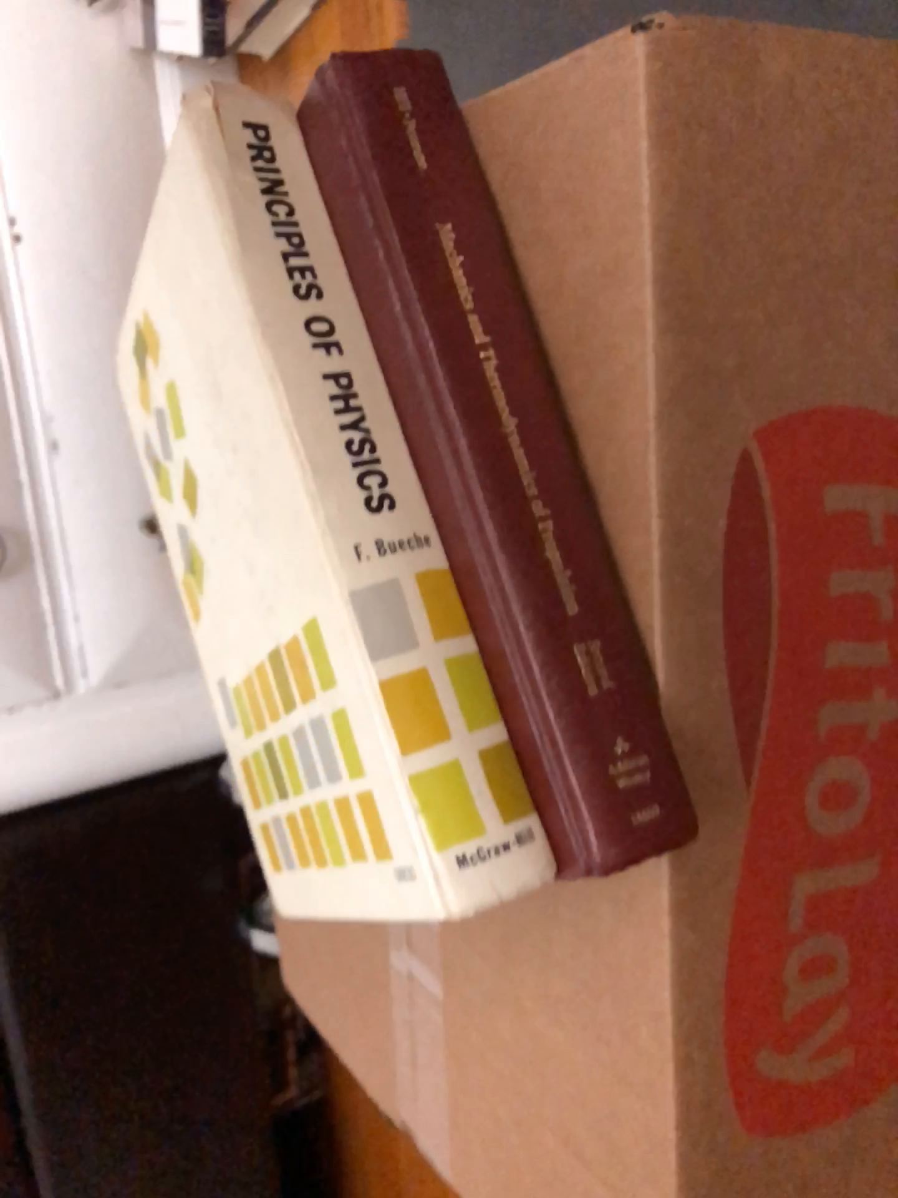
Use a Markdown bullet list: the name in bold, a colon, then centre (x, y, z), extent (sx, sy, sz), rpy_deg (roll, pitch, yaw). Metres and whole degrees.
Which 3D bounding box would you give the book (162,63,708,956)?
- **book**: centre (-0.026, -0.012, 0.351), extent (0.181, 0.040, 0.250), rpy_deg (-27, 80, 59)

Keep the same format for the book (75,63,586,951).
- **book**: centre (-0.062, -0.011, 0.348), extent (0.181, 0.040, 0.250), rpy_deg (-32, 75, 58)
